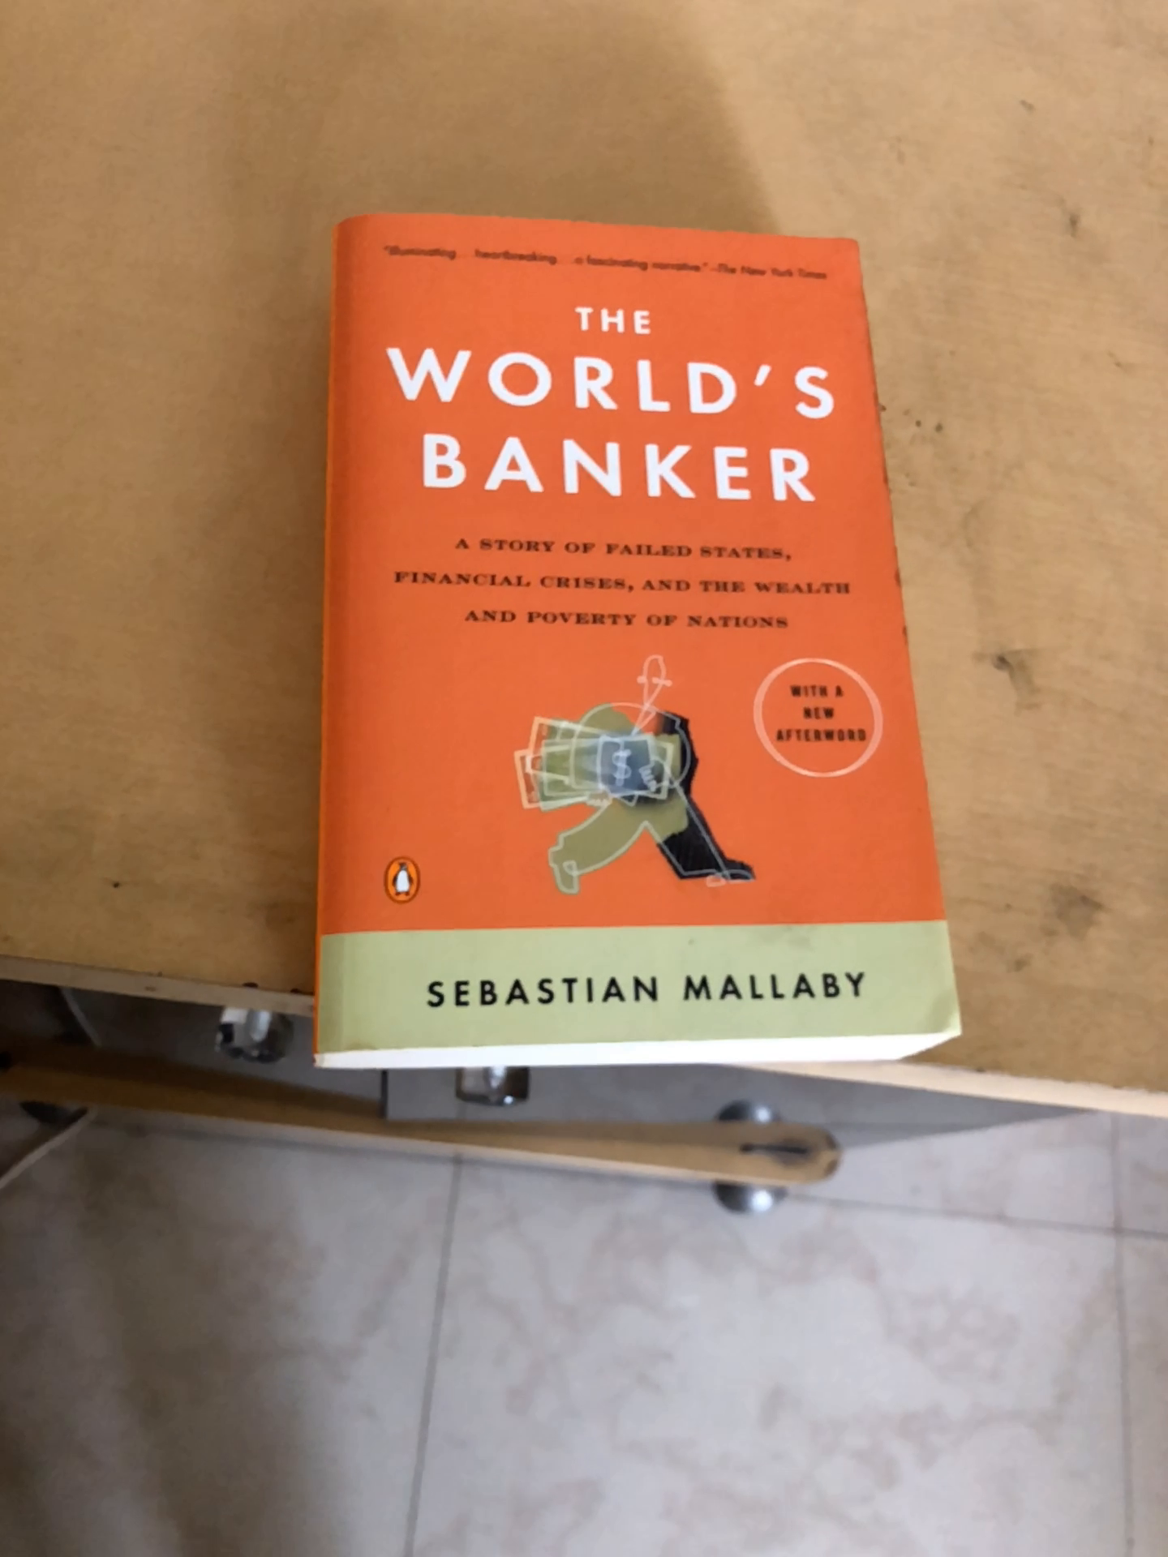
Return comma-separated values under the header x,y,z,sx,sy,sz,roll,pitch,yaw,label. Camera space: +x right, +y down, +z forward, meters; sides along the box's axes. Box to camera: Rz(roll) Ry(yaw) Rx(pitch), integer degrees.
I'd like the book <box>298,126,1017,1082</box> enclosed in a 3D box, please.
x,y,z,sx,sy,sz,roll,pitch,yaw,label
0.012,-0.045,0.300,0.140,0.030,0.220,1,71,-8,book
